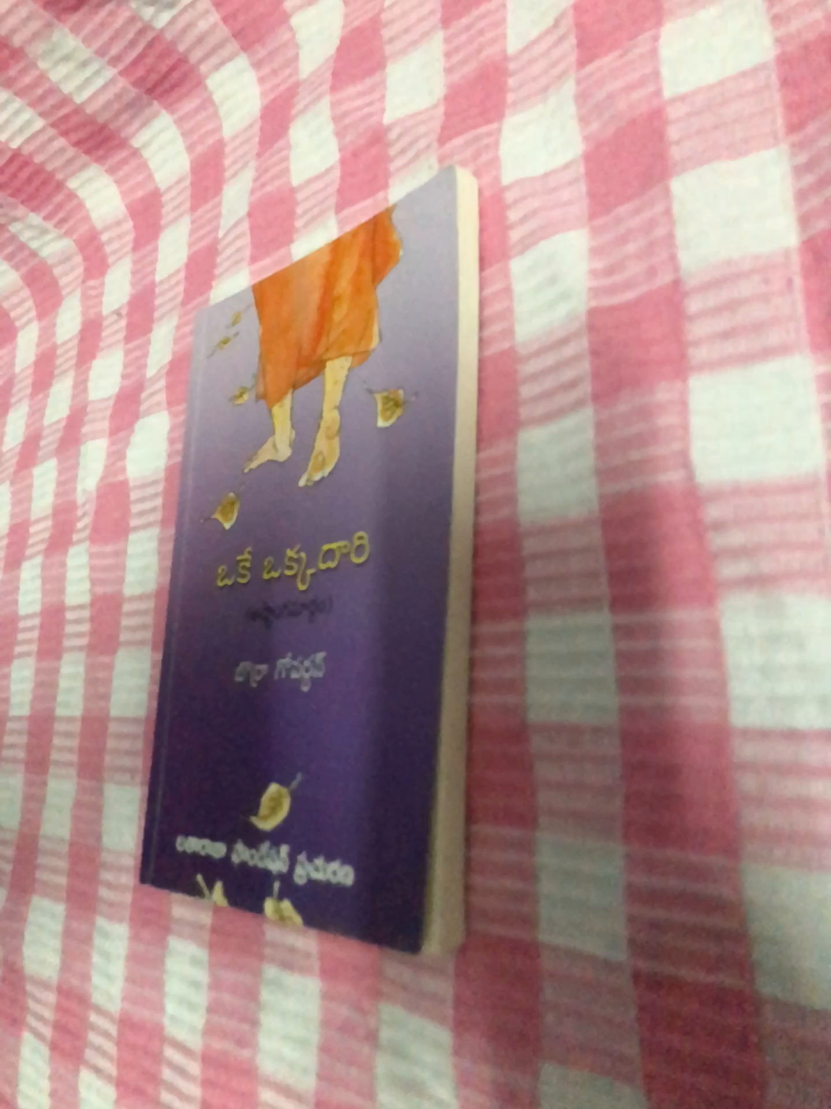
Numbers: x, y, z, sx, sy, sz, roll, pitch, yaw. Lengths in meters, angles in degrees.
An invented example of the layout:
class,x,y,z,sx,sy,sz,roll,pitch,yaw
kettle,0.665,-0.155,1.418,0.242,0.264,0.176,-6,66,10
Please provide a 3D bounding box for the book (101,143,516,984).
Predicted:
class,x,y,z,sx,sy,sz,roll,pitch,yaw
book,-0.038,0.002,0.280,0.150,0.020,0.210,-9,73,43
